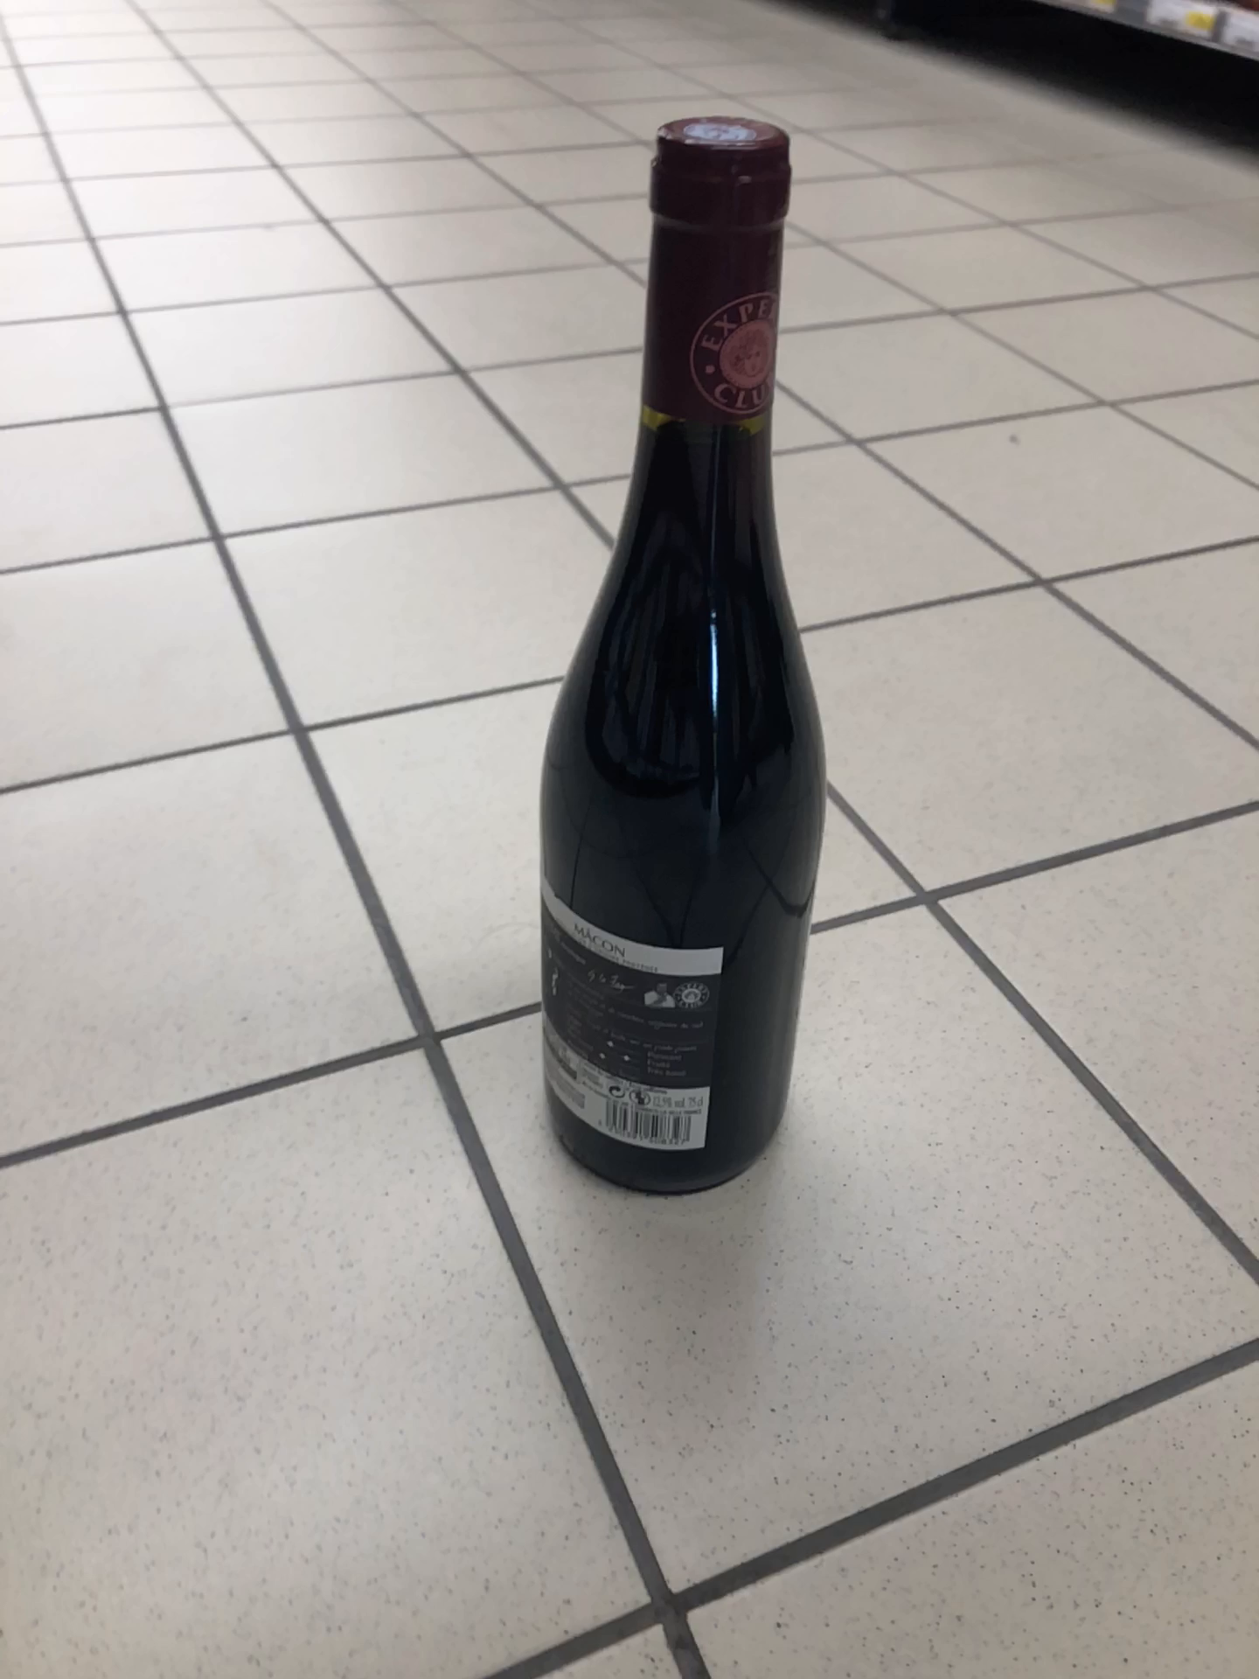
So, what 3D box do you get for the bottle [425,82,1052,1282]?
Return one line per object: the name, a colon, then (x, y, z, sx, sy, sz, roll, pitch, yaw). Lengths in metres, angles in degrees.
bottle: (0.020, -0.026, 0.366, 0.090, 0.288, 0.091, 1, 37, -1)
